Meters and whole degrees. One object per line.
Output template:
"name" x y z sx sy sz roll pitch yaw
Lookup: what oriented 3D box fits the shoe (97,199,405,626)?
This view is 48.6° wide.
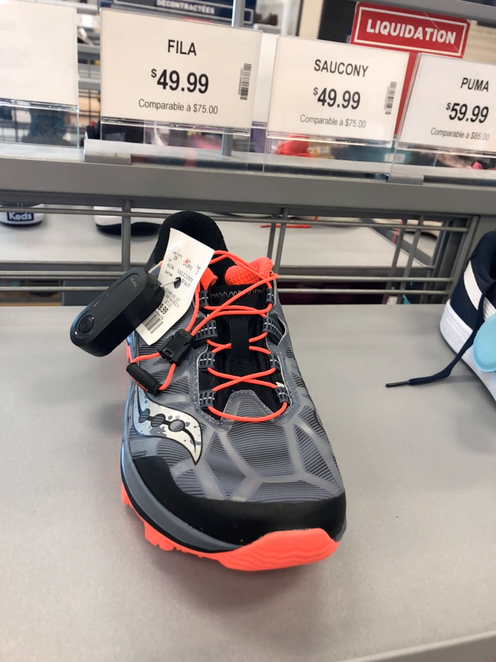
"shoe" -0.034 0.011 0.356 0.110 0.109 0.292 -2 29 -17
